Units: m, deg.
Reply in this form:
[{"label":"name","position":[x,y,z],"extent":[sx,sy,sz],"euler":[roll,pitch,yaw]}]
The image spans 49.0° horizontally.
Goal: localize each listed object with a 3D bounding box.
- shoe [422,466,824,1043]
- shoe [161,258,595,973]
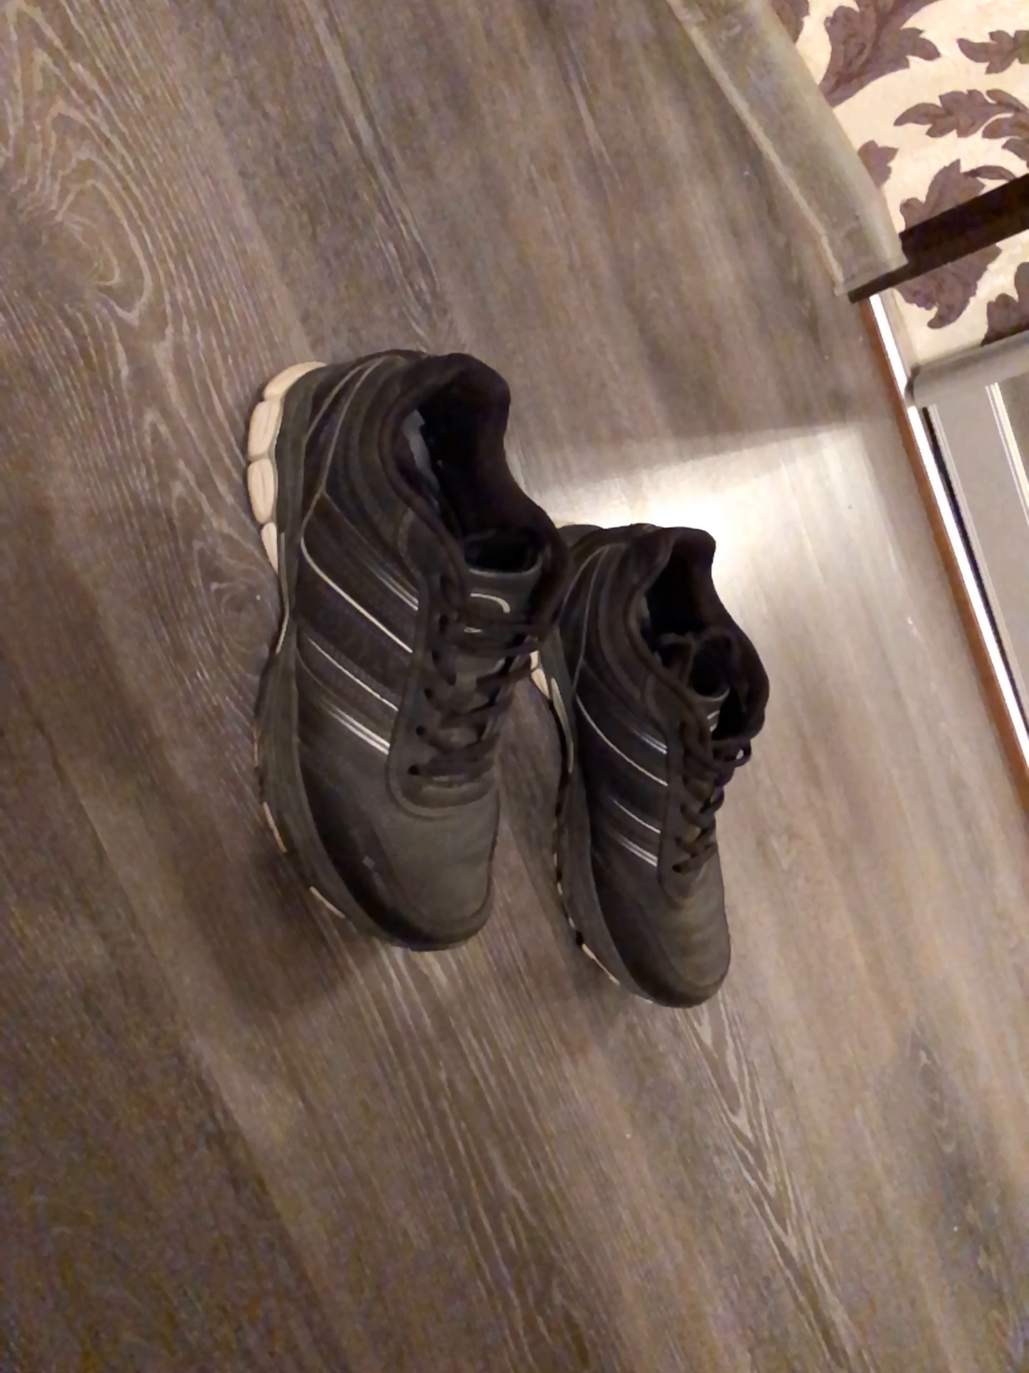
[{"label":"shoe","position":[0.057,0.031,0.578],"extent":[0.111,0.099,0.260],"euler":[-15,92,-45]},{"label":"shoe","position":[-0.055,-0.024,0.455],"extent":[0.101,0.089,0.250],"euler":[-7,86,-45]}]
